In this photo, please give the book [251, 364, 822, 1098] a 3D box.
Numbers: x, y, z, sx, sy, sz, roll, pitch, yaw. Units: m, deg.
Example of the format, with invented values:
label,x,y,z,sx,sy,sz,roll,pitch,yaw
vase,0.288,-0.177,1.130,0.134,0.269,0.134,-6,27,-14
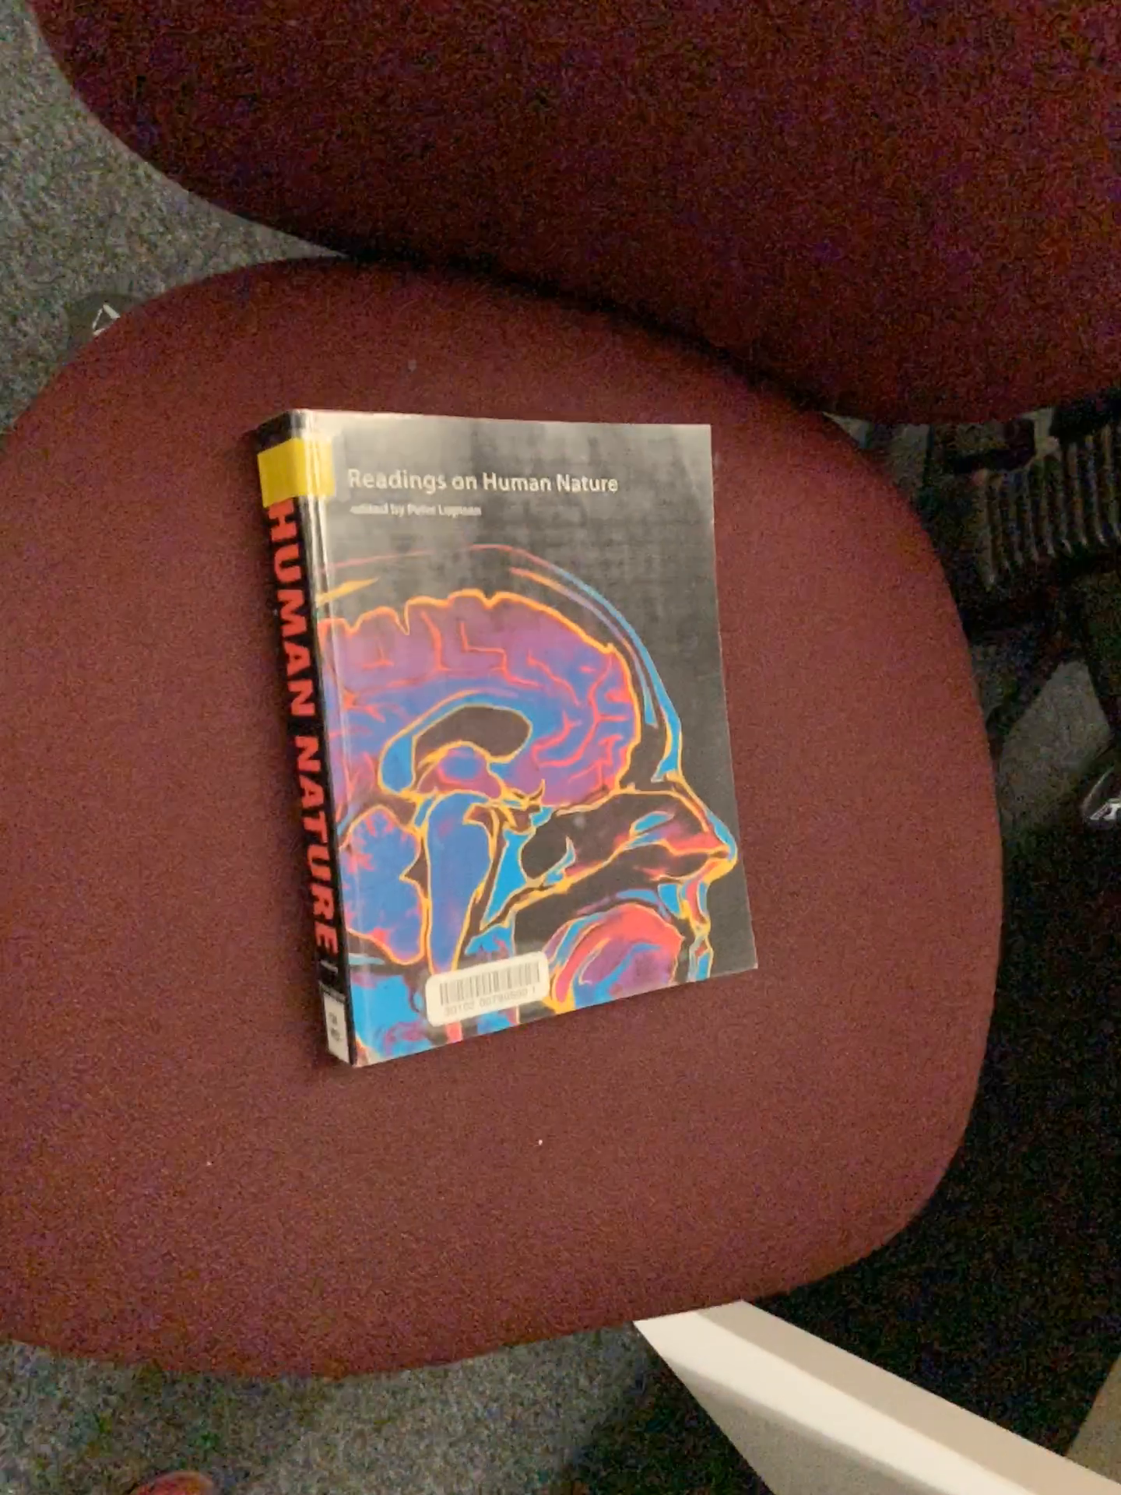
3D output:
label,x,y,z,sx,sy,sz,roll,pitch,yaw
book,-0.001,-0.014,0.440,0.201,0.040,0.240,-6,90,-30
